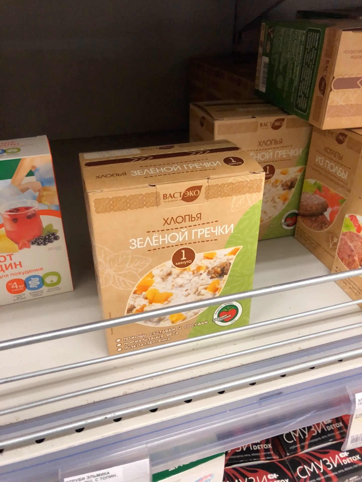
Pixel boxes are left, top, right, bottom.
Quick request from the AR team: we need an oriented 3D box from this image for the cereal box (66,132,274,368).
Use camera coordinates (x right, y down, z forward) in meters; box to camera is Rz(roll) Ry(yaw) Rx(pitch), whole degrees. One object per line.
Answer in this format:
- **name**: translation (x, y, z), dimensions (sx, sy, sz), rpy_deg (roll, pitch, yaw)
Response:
- **cereal box**: translation (-0.014, 0.004, 0.326), dimensions (0.130, 0.149, 0.090), rpy_deg (-9, 33, -14)
